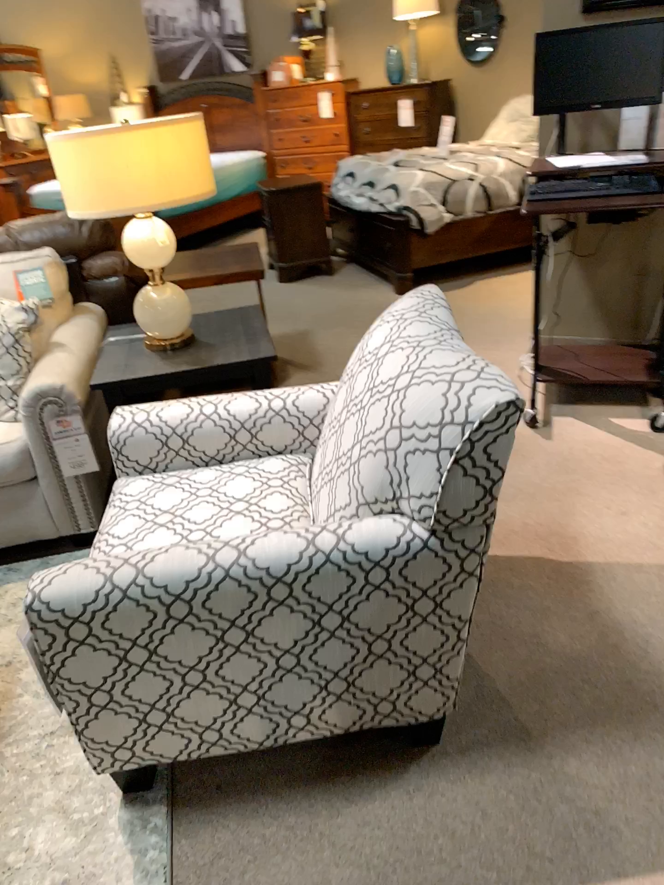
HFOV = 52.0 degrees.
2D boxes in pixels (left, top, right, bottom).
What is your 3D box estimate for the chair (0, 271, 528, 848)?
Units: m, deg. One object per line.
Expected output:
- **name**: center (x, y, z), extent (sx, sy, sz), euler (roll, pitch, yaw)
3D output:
- **chair**: center (-0.177, 0.188, 1.594), extent (0.964, 0.846, 0.879), euler (-8, 28, -2)
